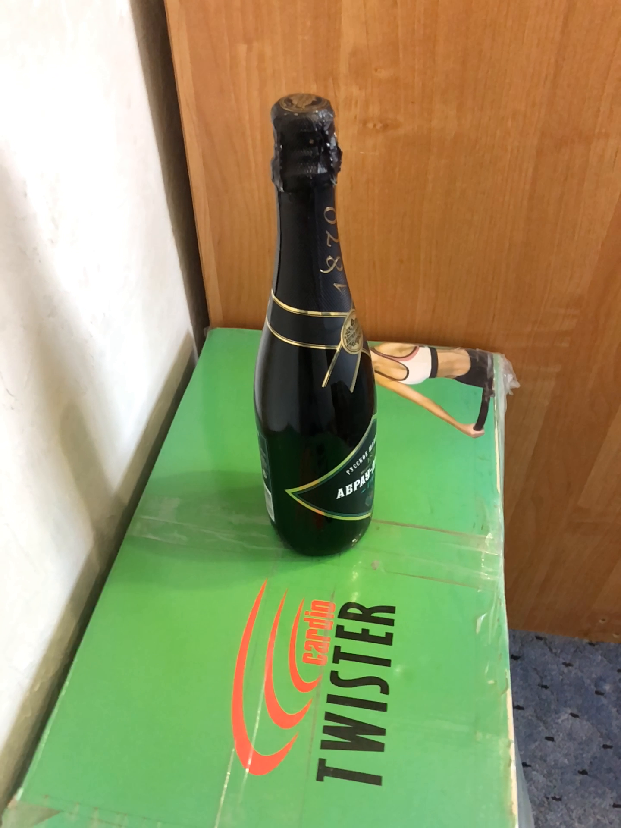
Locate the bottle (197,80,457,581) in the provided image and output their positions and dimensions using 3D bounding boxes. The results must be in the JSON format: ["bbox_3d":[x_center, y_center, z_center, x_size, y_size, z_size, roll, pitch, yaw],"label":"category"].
[{"bbox_3d":[0.013,-0.029,0.427,0.090,0.300,0.090,-1,45,1],"label":"bottle"}]
